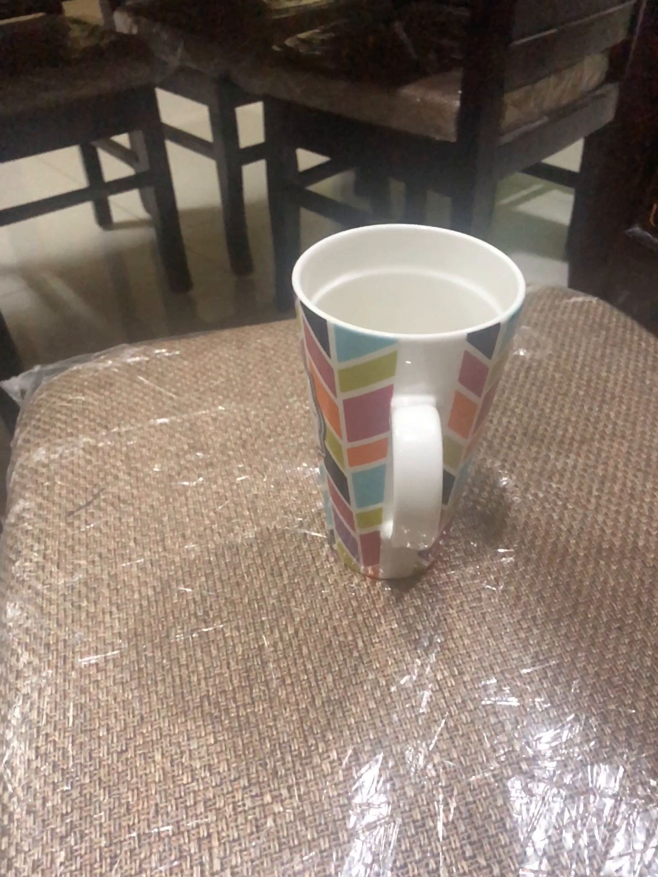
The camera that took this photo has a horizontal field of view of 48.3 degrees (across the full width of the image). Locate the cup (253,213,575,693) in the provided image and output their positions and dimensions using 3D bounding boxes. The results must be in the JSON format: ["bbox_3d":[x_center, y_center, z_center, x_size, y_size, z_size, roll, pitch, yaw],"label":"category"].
[{"bbox_3d":[0.028,0.004,0.300,0.090,0.139,0.130,4,40,3],"label":"cup"}]
